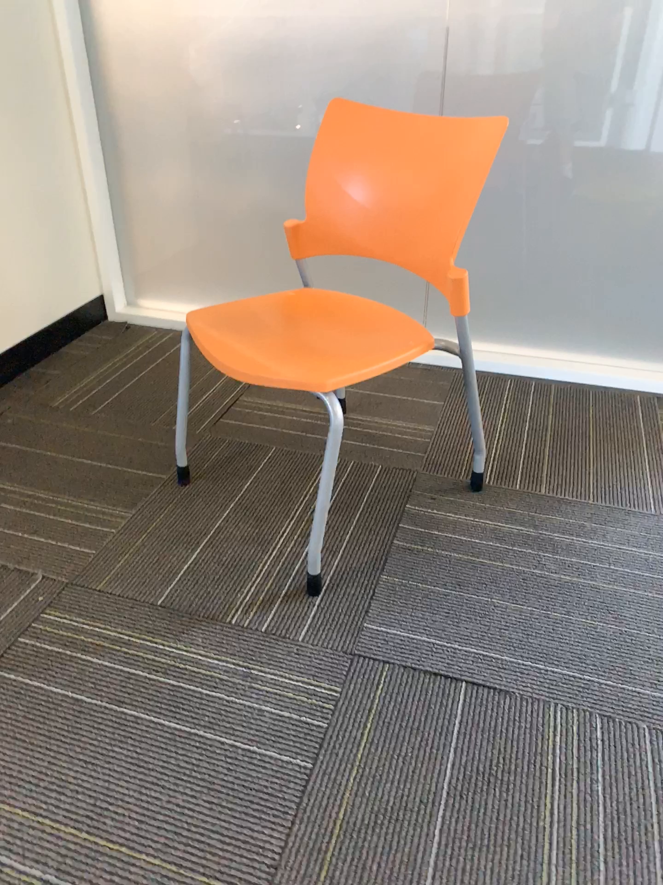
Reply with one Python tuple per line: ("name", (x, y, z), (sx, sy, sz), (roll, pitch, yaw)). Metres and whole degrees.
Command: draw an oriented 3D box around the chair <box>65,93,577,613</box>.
("chair", (-0.026, -0.273, 1.479), (0.681, 0.795, 0.683), (-26, 40, -36))
